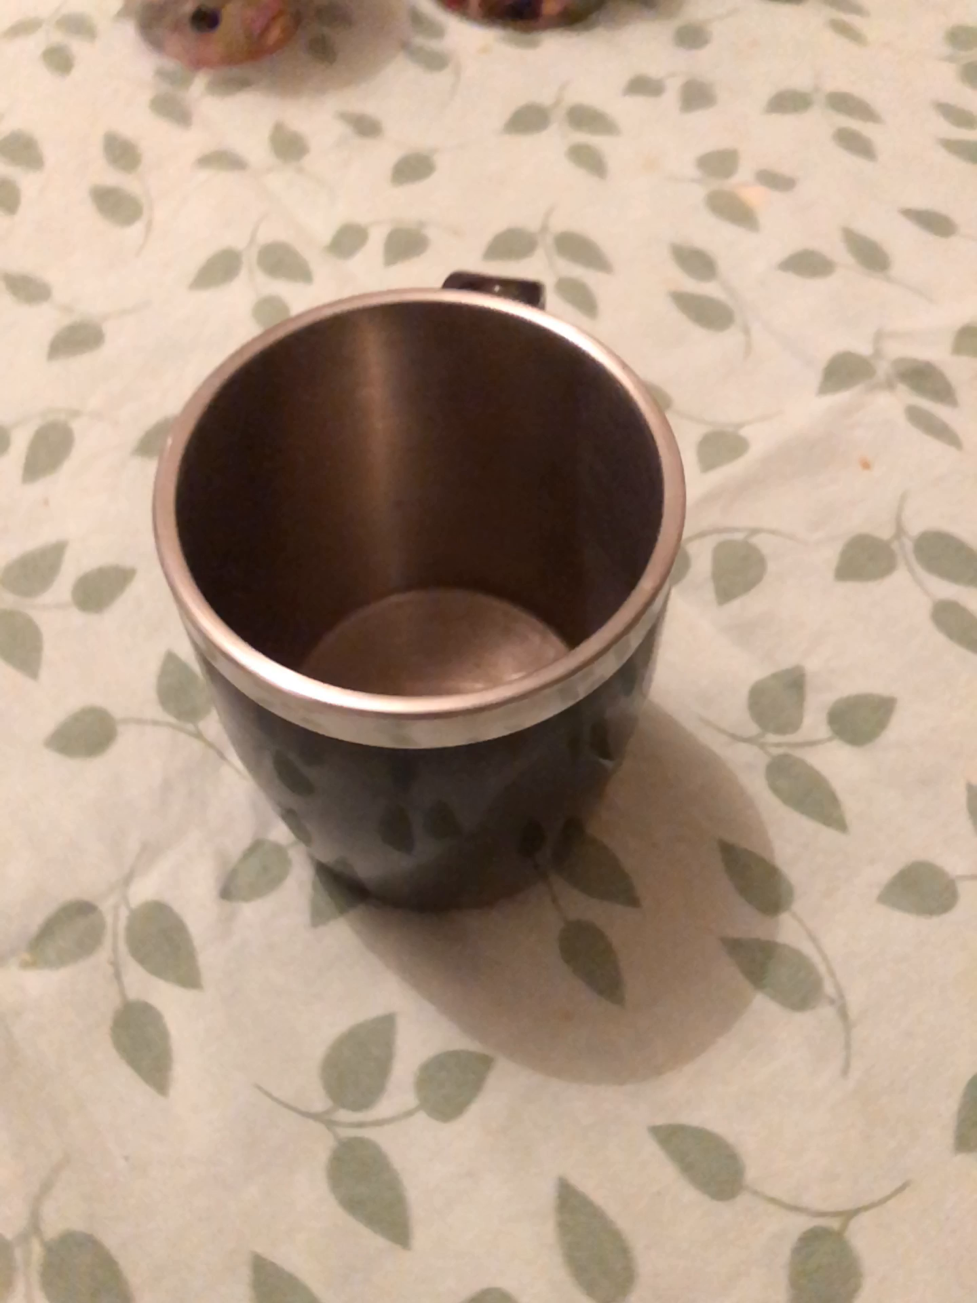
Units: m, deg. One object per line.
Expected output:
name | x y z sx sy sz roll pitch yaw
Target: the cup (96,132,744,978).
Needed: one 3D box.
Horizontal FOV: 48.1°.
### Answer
cup | -0.005 -0.014 0.236 0.090 0.119 0.131 5 61 2
